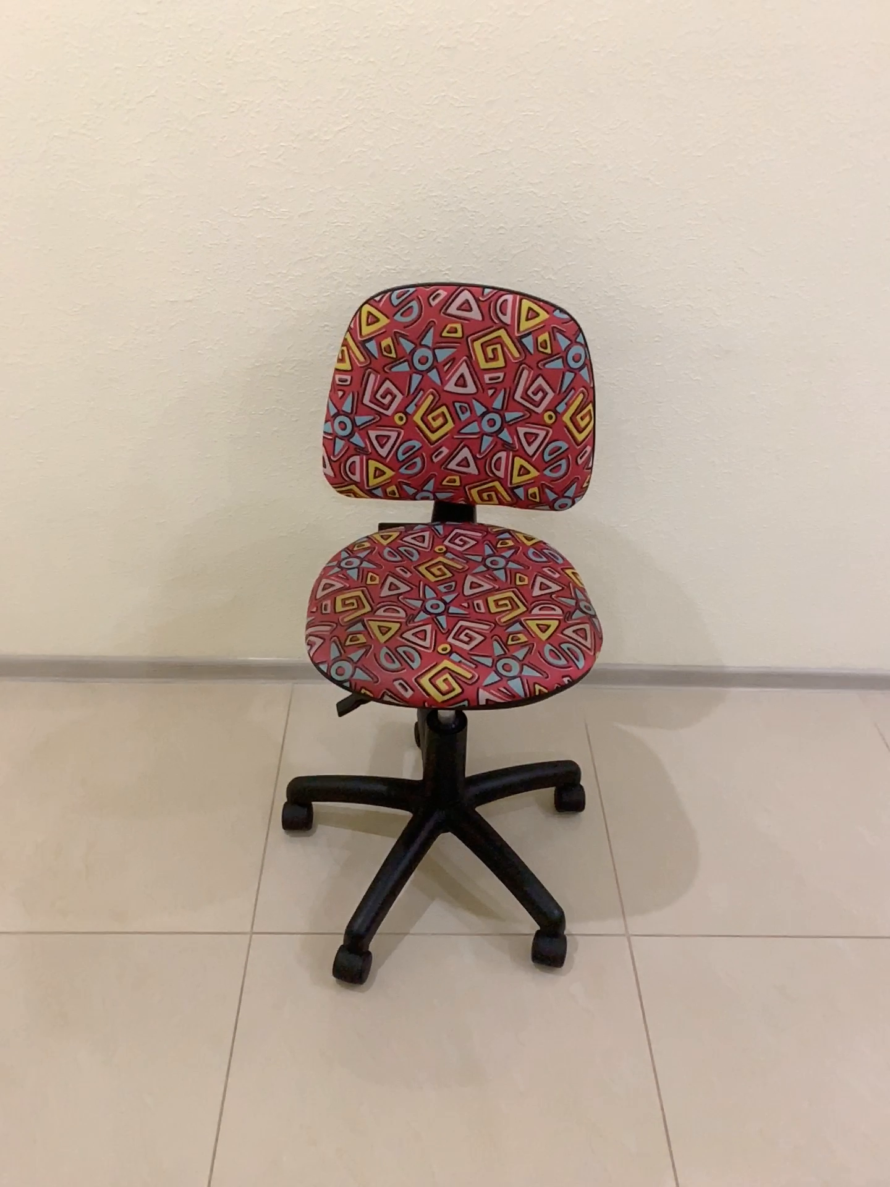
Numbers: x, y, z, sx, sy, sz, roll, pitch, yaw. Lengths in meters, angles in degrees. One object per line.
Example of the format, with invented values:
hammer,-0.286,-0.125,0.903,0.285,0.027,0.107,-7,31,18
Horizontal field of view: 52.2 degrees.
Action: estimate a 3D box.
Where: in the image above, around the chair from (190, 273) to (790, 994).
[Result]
chair,0.018,0.082,1.312,0.550,0.884,0.543,1,37,-3
